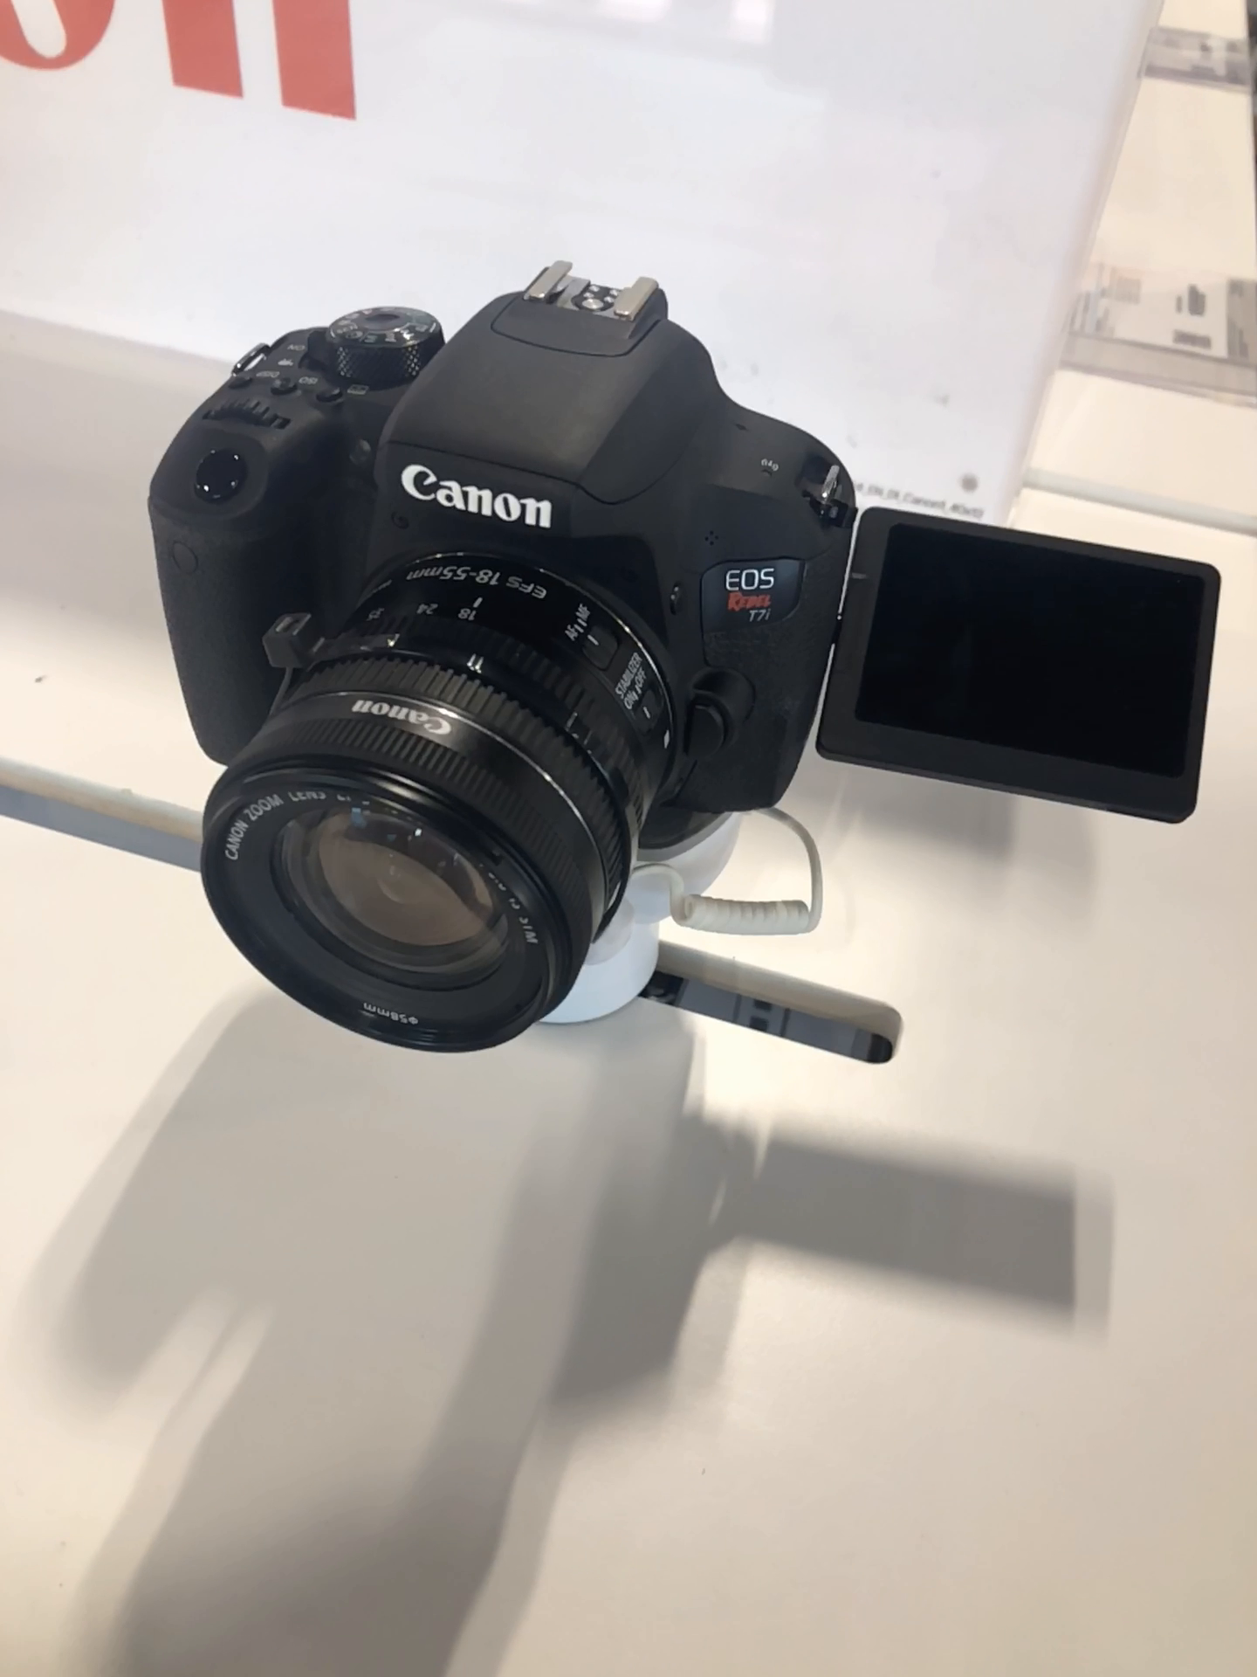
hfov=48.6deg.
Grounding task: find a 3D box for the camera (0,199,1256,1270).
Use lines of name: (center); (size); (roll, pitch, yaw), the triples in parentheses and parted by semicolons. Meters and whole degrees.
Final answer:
camera: (0.008, -0.026, 0.247); (0.210, 0.099, 0.111); (14, 45, 9)
